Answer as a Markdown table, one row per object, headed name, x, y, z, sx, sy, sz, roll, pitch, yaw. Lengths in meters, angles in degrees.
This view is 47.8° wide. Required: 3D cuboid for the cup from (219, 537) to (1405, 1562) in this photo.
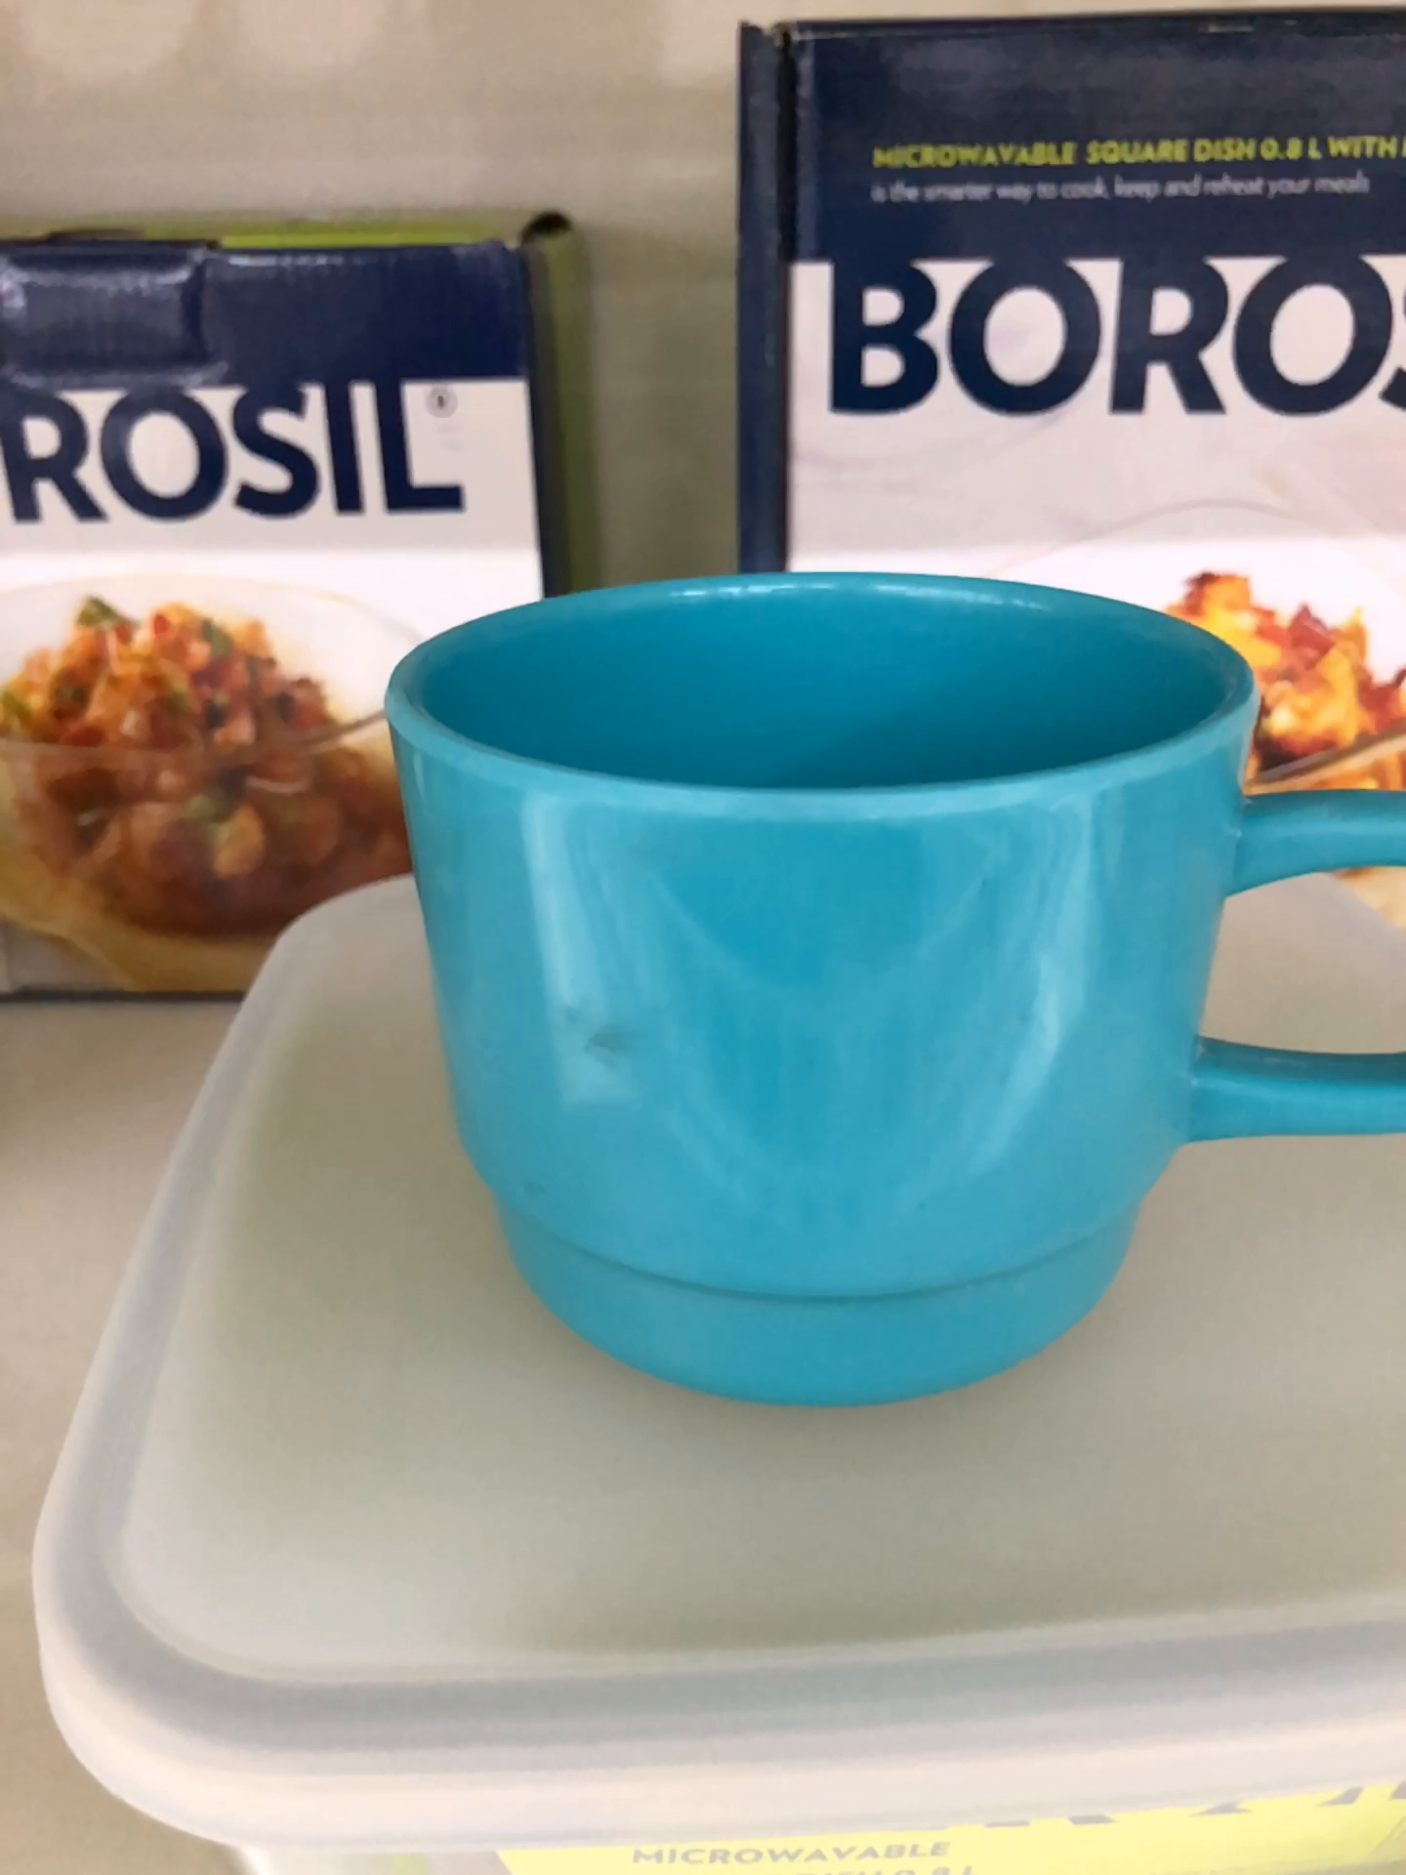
| name | x | y | z | sx | sy | sz | roll | pitch | yaw |
| --- | --- | --- | --- | --- | --- | --- | --- | --- | --- |
| cup | 0.028 | 0.001 | 0.171 | 0.120 | 0.070 | 0.091 | 2 | 24 | 7 |
